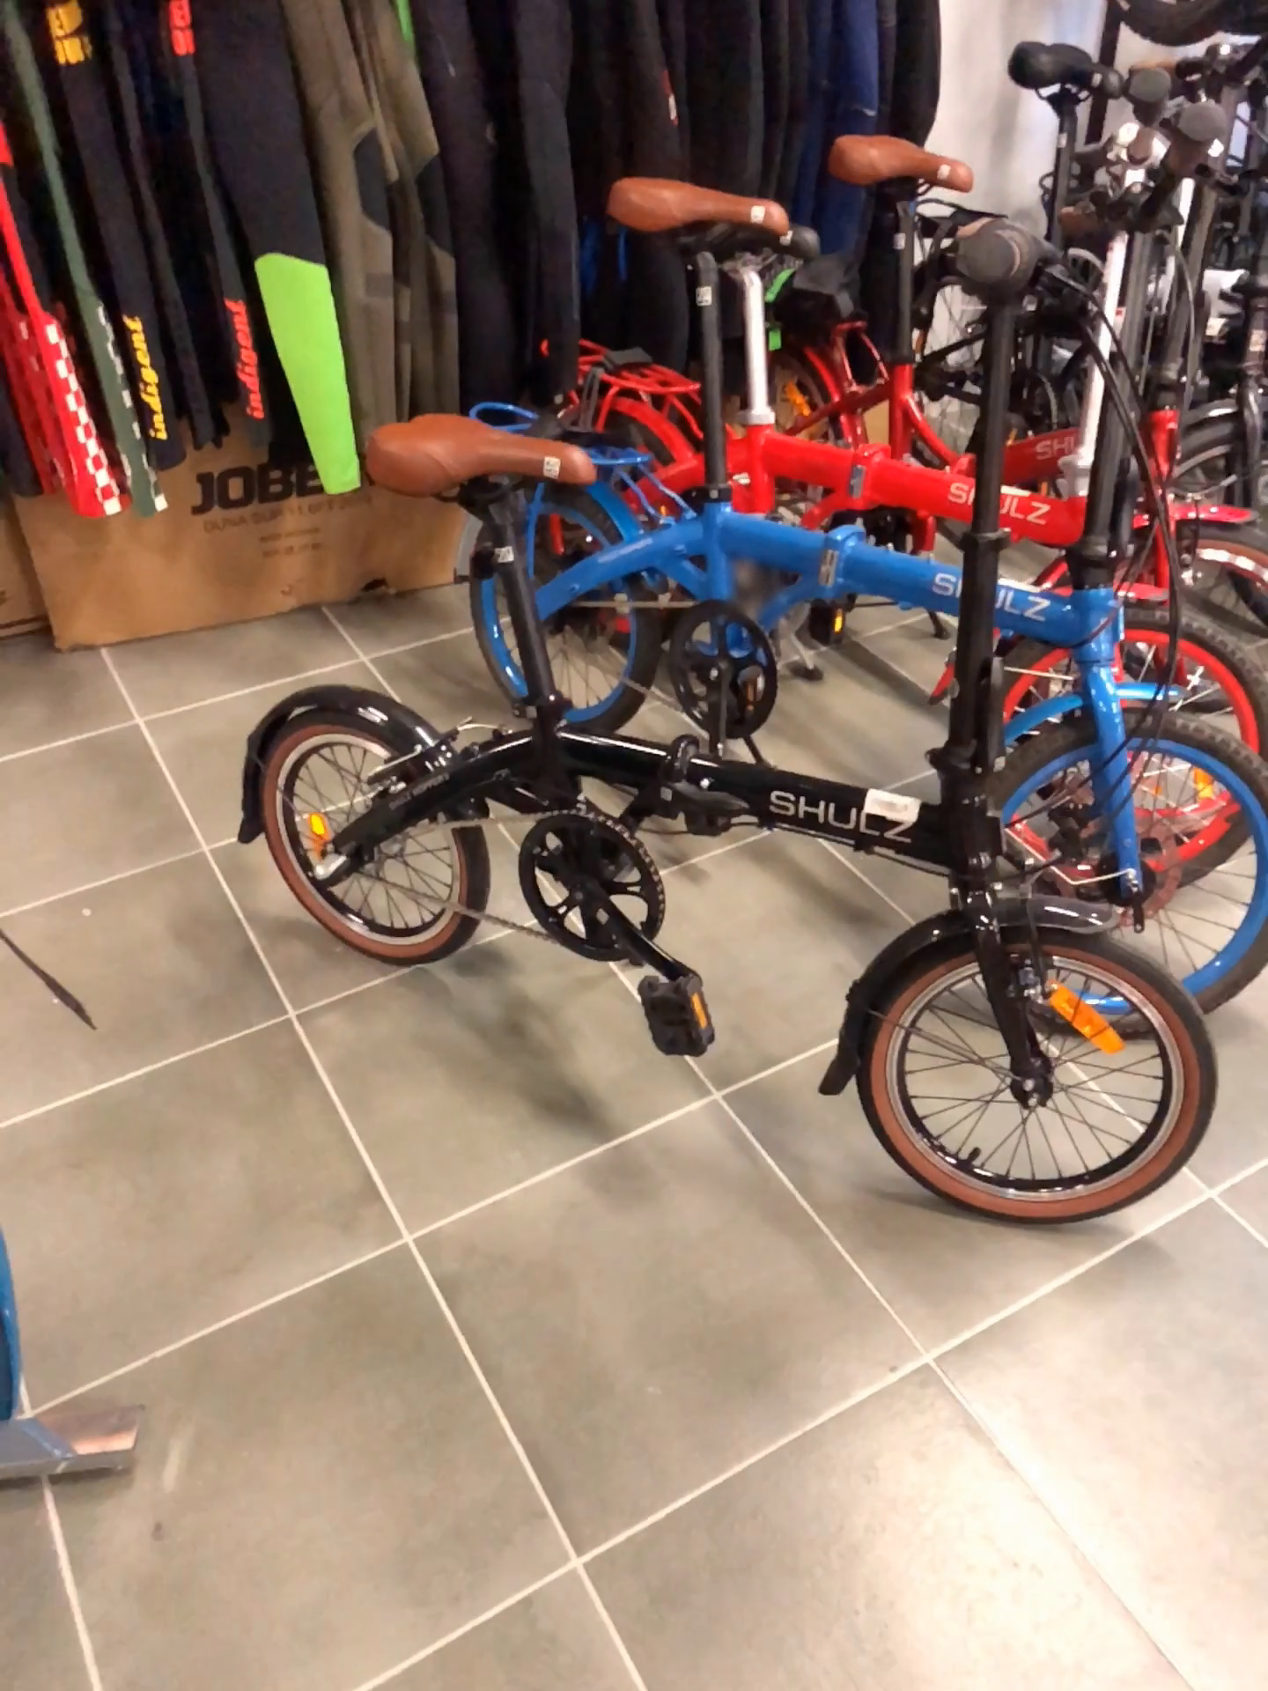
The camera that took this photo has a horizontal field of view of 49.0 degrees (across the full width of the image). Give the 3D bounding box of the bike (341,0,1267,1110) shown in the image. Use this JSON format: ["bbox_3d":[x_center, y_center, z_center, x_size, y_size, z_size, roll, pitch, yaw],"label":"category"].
[{"bbox_3d":[0.348,-0.485,1.969,1.375,1.029,0.569,26,45,28],"label":"bike"}]

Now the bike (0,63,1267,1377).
[{"bbox_3d":[0.053,-0.201,1.545,1.274,1.057,0.567,16,40,22],"label":"bike"}]
